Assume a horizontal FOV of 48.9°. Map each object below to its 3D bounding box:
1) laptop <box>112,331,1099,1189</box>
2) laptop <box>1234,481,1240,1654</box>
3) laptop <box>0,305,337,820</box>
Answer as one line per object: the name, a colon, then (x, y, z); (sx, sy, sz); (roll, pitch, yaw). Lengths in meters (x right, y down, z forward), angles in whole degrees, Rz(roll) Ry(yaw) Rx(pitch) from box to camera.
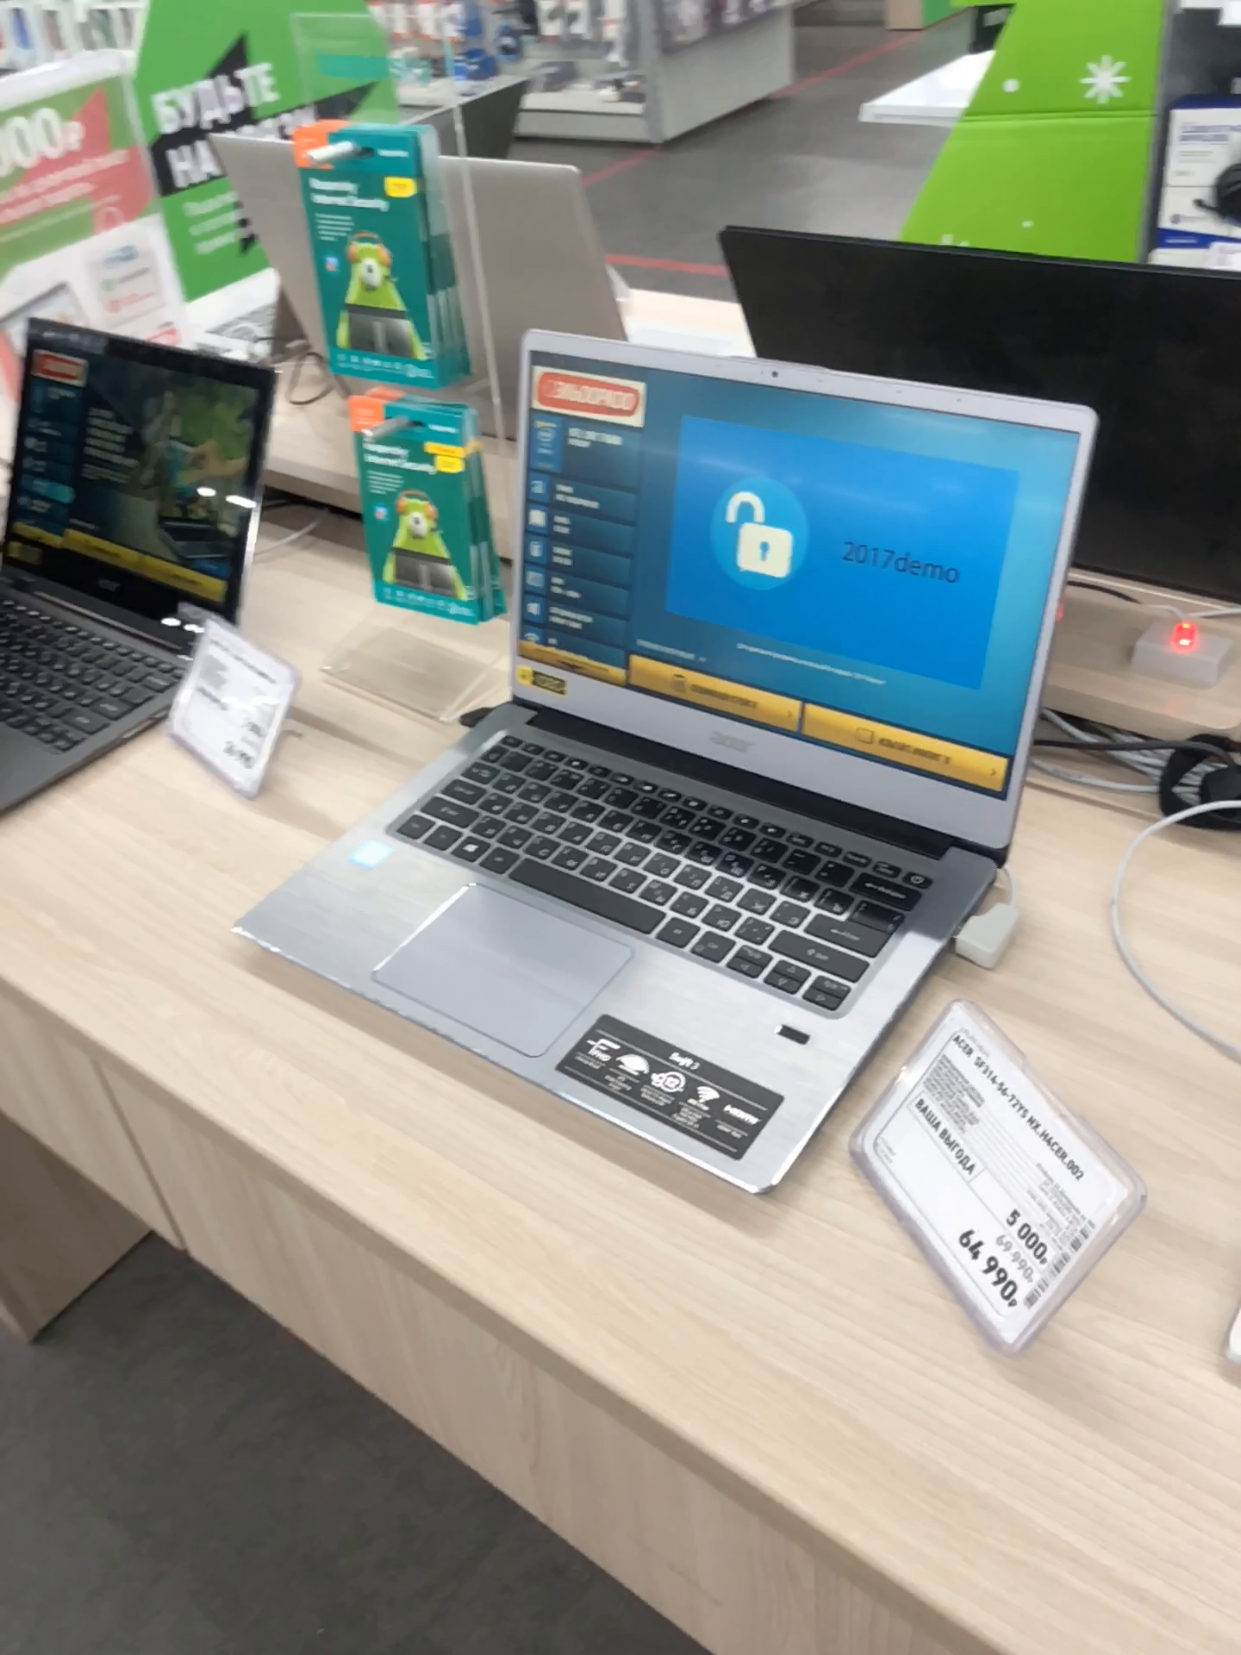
laptop: (0.006, -0.066, 0.655); (0.315, 0.197, 0.303); (20, 48, 31)
laptop: (0.419, 0.066, 0.431); (0.305, 0.164, 0.323); (20, 49, 32)
laptop: (-0.421, -0.200, 0.925); (0.280, 0.159, 0.312); (22, 50, 33)
